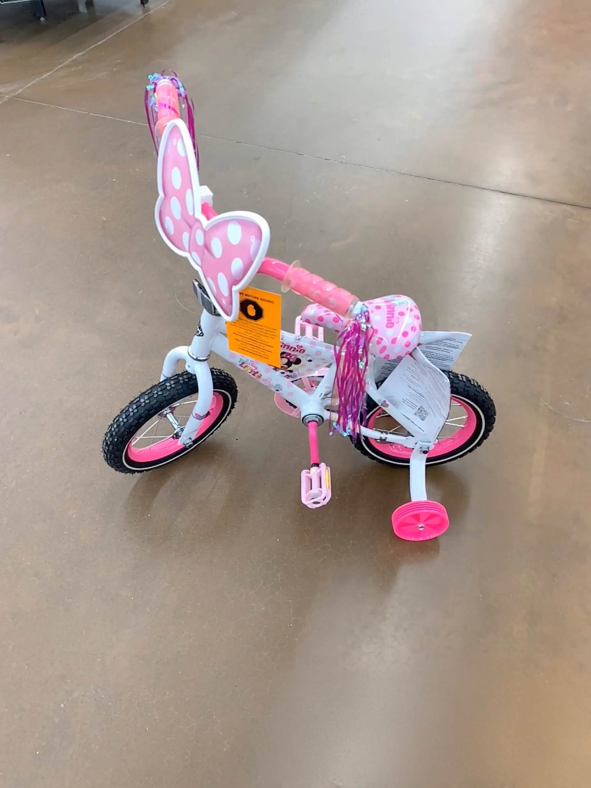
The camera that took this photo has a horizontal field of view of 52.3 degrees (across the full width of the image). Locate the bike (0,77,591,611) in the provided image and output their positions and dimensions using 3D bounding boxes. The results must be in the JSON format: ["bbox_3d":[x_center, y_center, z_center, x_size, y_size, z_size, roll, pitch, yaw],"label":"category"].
[{"bbox_3d":[0.033,-0.052,1.013,0.759,0.750,0.444,-8,48,-10],"label":"bike"}]
